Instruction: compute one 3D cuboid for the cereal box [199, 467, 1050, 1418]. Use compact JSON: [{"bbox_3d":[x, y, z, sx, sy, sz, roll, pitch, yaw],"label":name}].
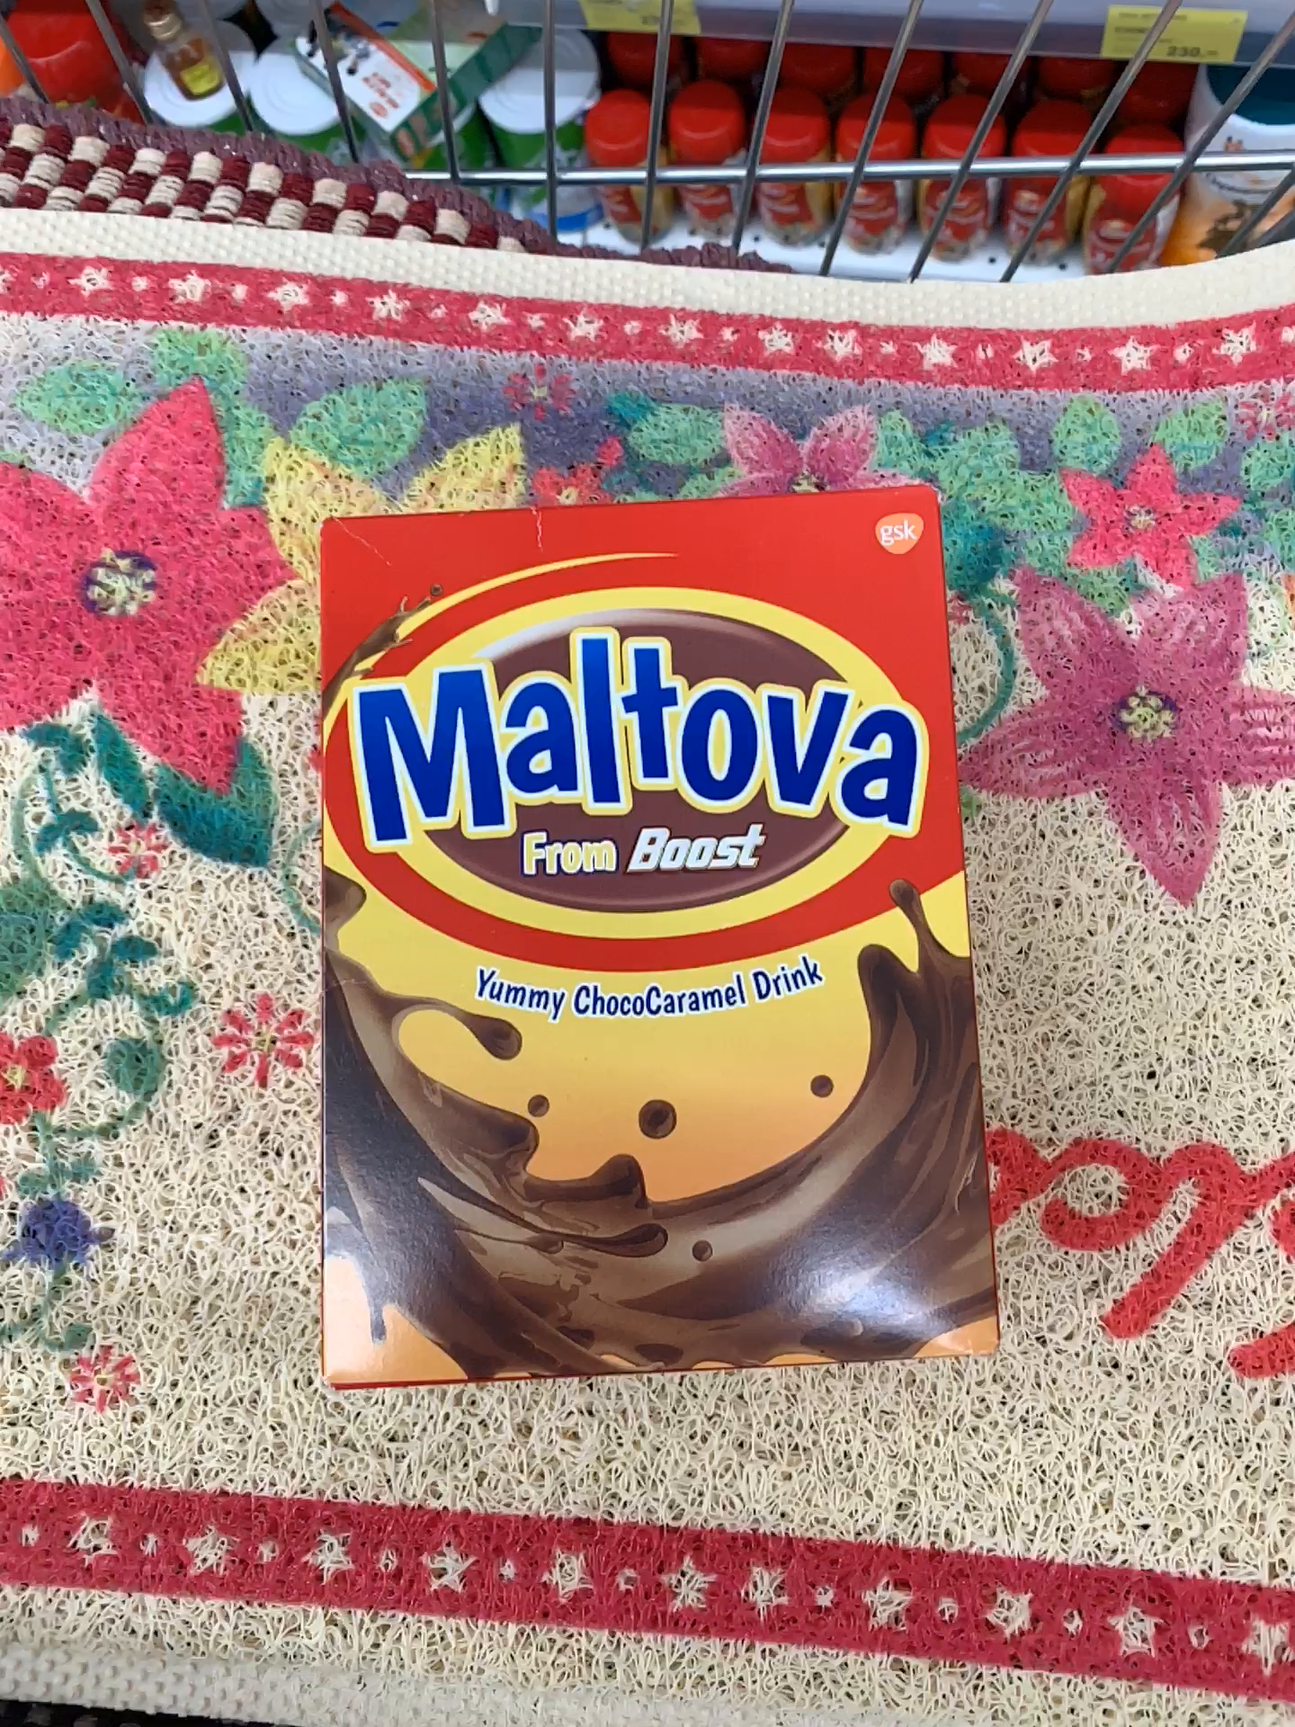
[{"bbox_3d":[-0.008,0.015,0.274,0.150,0.050,0.170,-3,80,2],"label":"cereal box"}]
